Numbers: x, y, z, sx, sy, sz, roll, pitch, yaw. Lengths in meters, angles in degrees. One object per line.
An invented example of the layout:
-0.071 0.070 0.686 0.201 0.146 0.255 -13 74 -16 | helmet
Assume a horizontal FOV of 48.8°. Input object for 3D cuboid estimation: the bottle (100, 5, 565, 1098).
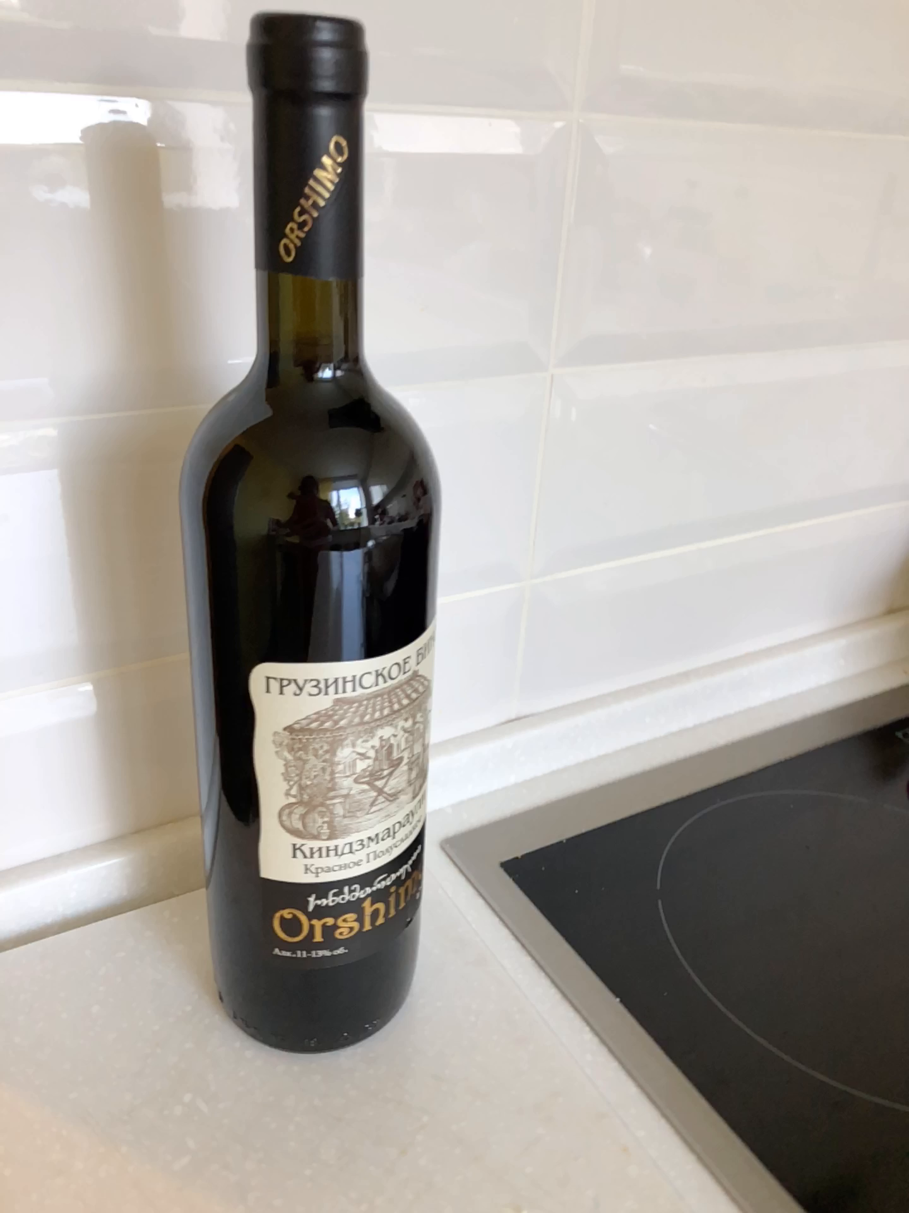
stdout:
-0.040 -0.003 0.303 0.080 0.298 0.080 3 26 -2 | bottle
